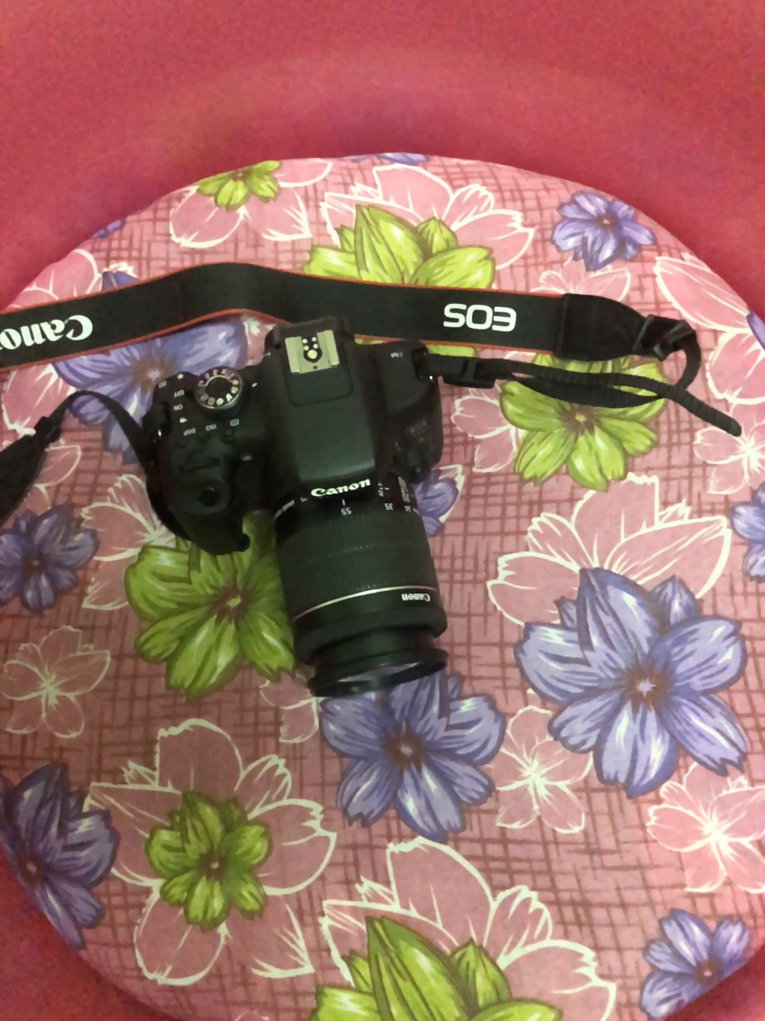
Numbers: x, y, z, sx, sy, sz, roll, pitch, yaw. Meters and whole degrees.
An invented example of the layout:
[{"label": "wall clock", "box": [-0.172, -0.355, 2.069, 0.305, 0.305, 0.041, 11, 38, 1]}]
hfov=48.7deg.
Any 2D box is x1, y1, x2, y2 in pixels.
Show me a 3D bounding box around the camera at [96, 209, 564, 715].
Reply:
[{"label": "camera", "box": [-0.023, -0.013, 0.346, 0.140, 0.100, 0.160, -11, 74, -2]}]
